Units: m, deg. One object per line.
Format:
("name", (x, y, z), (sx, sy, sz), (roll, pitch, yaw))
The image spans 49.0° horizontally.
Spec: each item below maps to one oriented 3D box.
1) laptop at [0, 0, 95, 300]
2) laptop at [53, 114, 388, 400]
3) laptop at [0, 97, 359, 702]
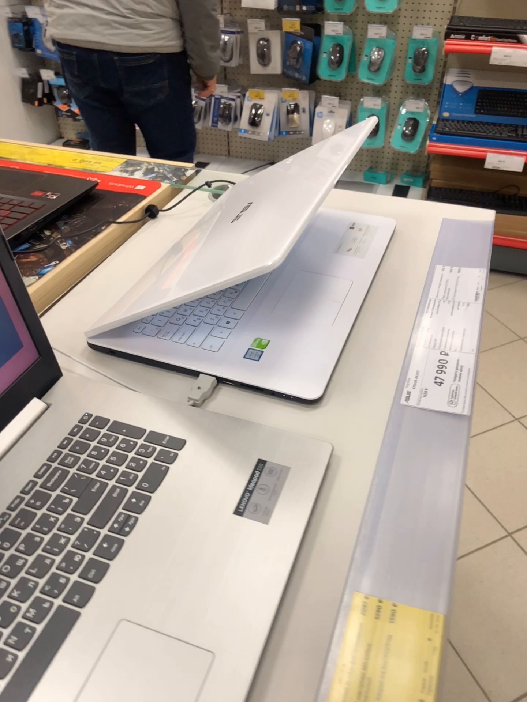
("laptop", (-0.536, -0.290, 0.748), (0.377, 0.220, 0.367), (18, 42, 18))
("laptop", (-0.013, -0.147, 0.690), (0.257, 0.142, 0.393), (11, 38, 14))
("laptop", (-0.174, 0.070, 0.288), (0.336, 0.262, 0.394), (10, 39, 13))
